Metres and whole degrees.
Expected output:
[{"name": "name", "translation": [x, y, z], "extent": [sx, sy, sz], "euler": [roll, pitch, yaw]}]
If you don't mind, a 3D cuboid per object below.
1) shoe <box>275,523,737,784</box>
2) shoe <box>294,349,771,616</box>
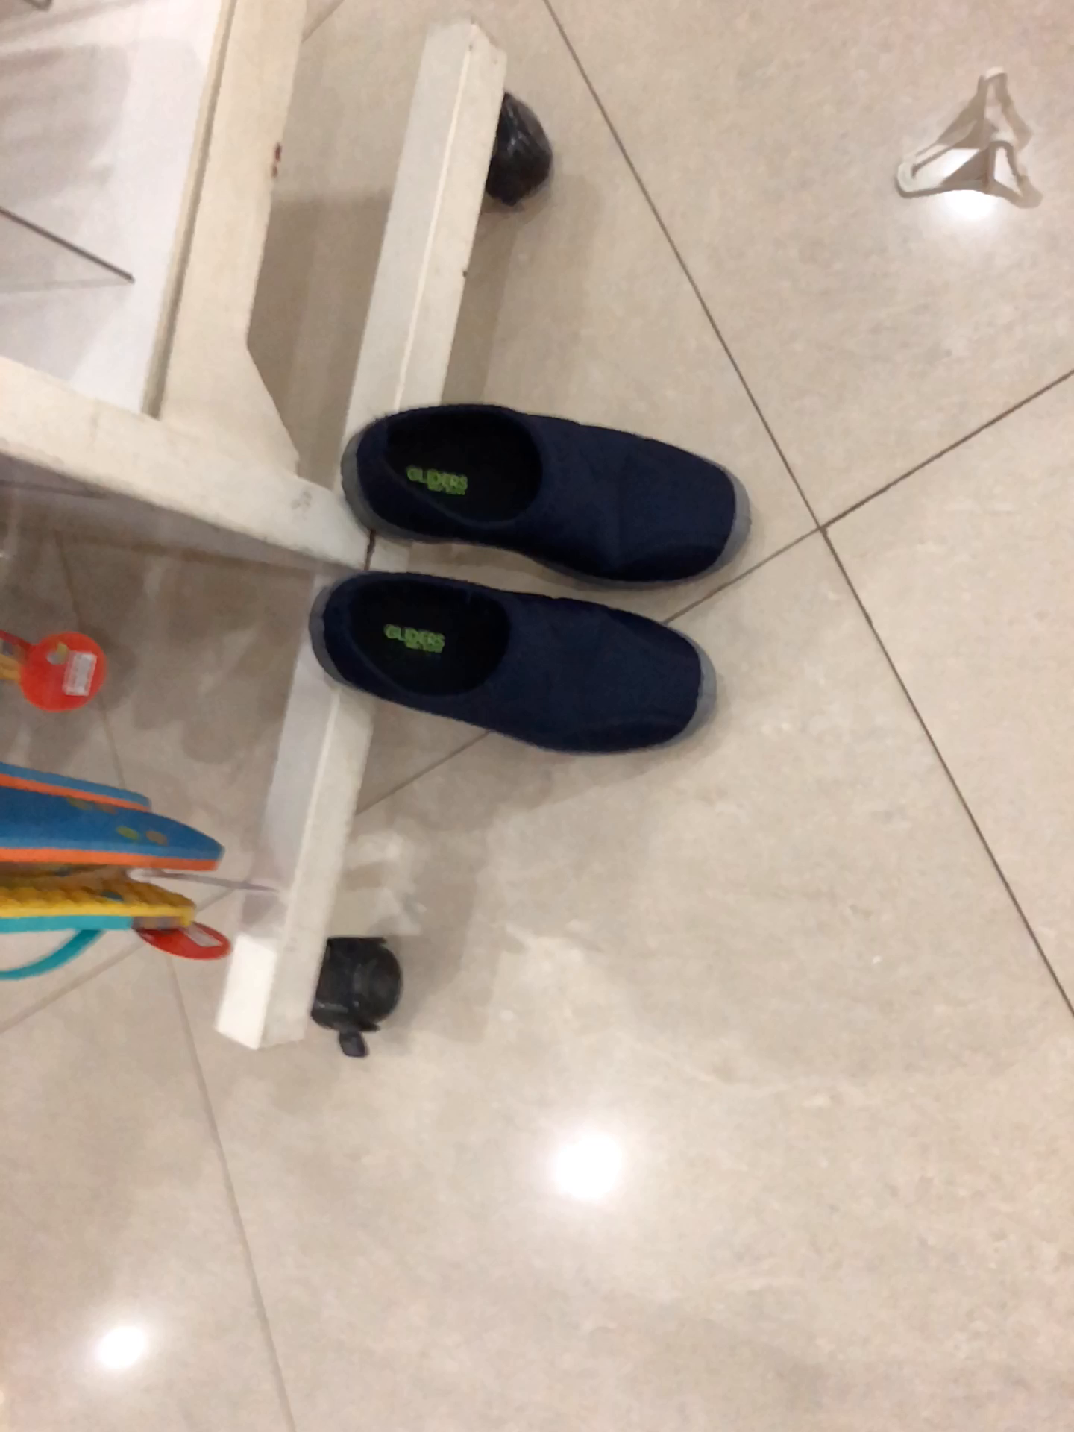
[{"name": "shoe", "translation": [-0.023, -0.043, 0.801], "extent": [0.289, 0.064, 0.107], "euler": [15, 92, 15]}, {"name": "shoe", "translation": [-0.004, -0.156, 0.792], "extent": [0.289, 0.083, 0.110], "euler": [15, 92, 18]}]
